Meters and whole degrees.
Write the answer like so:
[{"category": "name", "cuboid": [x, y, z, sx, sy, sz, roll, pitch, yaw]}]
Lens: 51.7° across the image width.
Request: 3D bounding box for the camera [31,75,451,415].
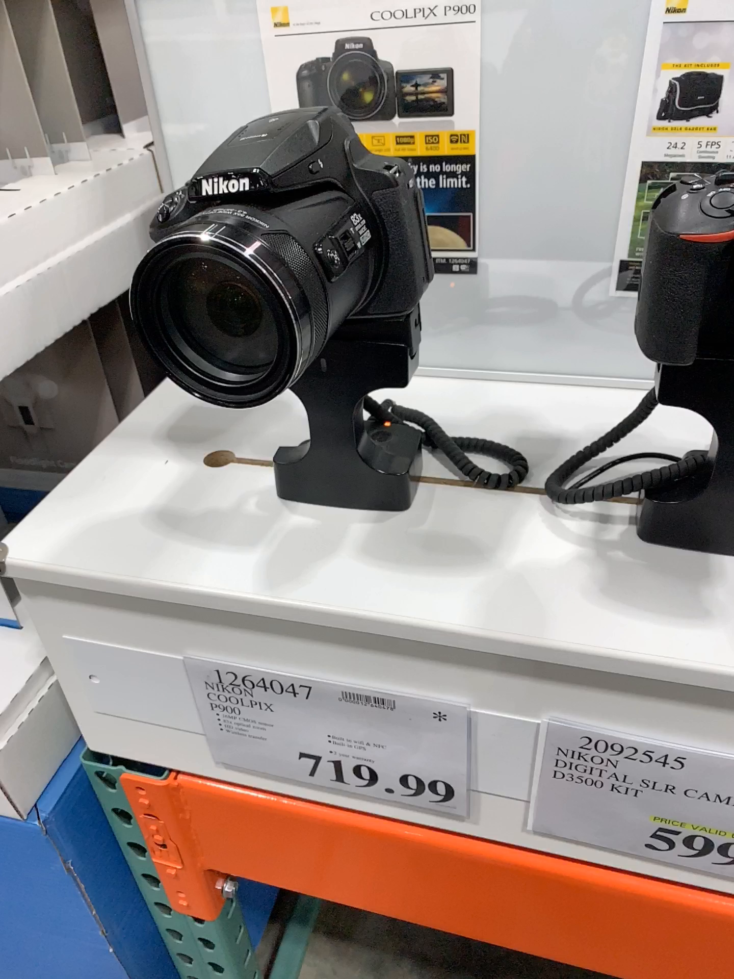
[{"category": "camera", "cuboid": [-0.045, -0.124, 0.374, 0.130, 0.109, 0.151, 4, 36, 21]}]
